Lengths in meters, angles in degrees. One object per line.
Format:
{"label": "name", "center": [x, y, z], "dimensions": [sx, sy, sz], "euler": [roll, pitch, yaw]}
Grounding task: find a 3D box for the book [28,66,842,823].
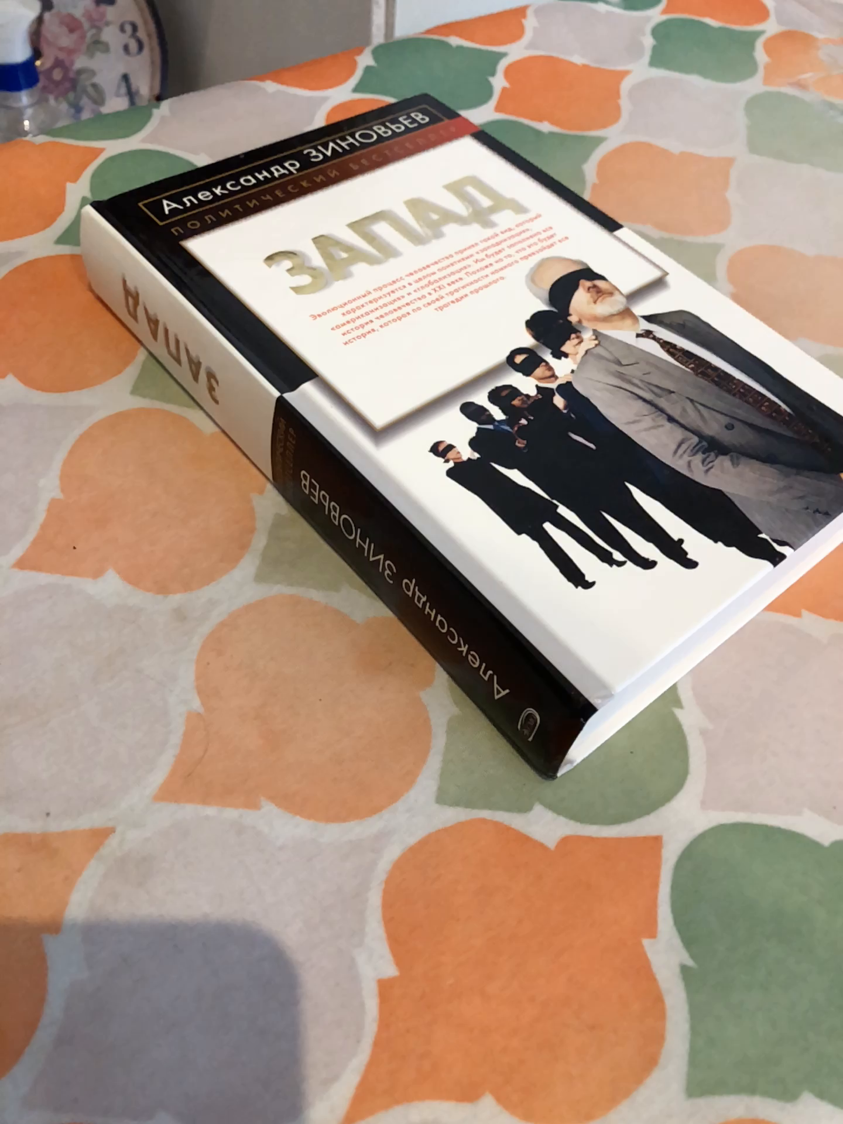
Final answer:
{"label": "book", "center": [0.009, -0.059, 0.269], "dimensions": [0.140, 0.040, 0.221], "euler": [-32, 62, -26]}
